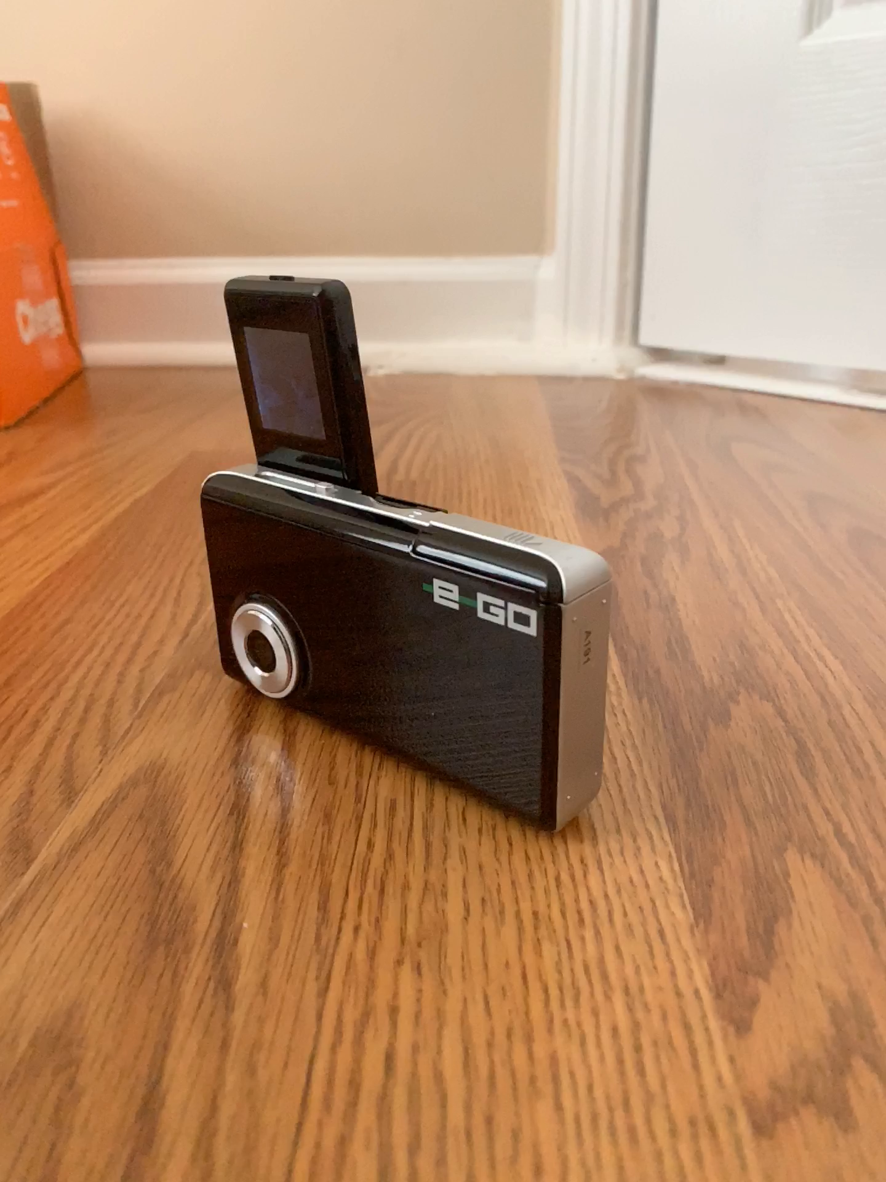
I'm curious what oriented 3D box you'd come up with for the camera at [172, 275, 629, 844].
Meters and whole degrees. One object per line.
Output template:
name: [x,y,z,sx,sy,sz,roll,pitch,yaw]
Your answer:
camera: [-0.016,-0.015,0.222,0.119,0.111,0.022,18,28,39]
